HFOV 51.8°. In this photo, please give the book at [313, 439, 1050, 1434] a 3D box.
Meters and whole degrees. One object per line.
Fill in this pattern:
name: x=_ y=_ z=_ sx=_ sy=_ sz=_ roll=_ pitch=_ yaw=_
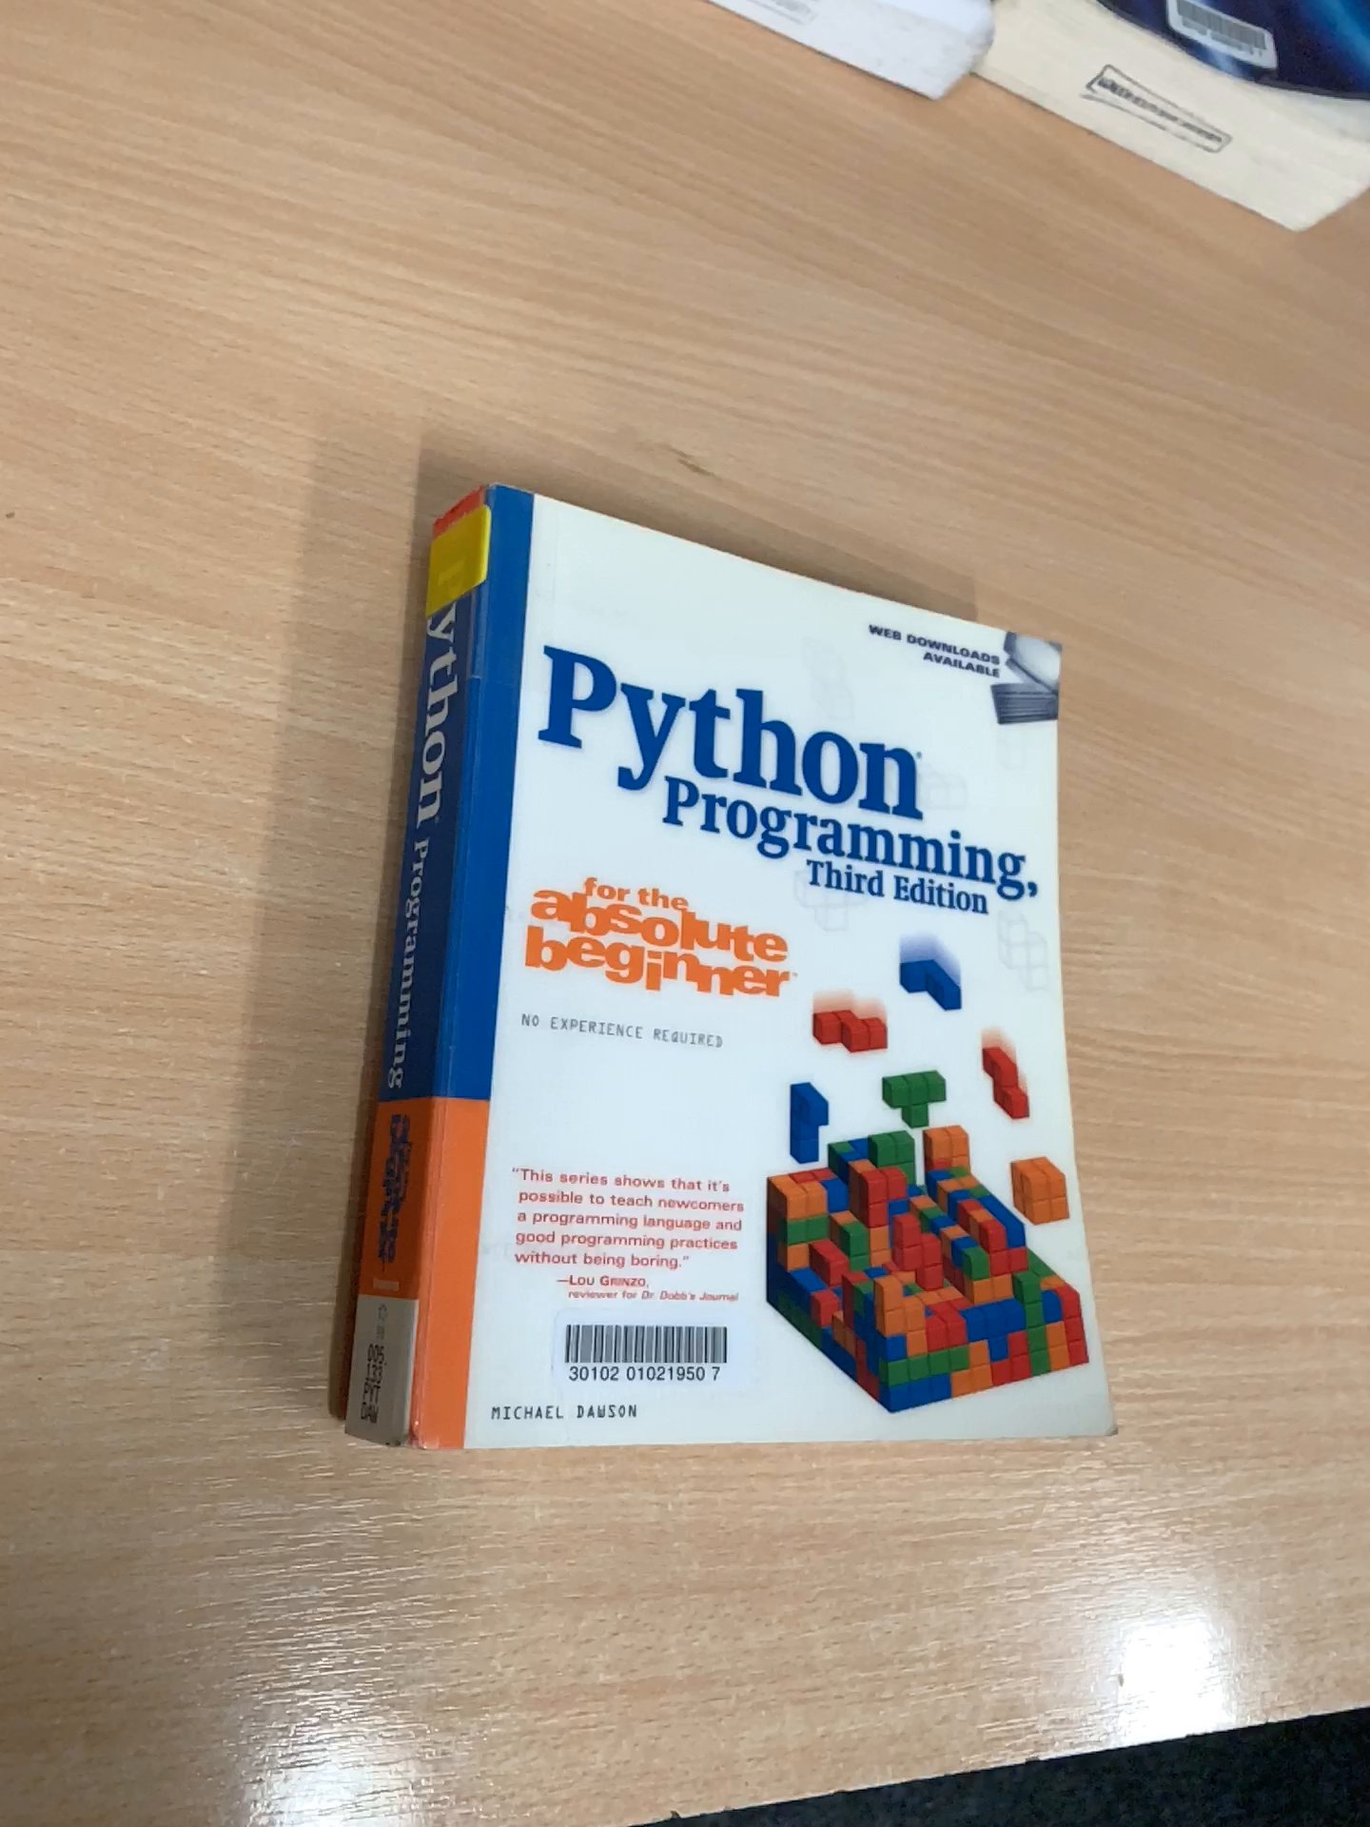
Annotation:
book: x=0.009 y=0.012 z=0.358 sx=0.175 sy=0.039 sz=0.219 roll=9 pitch=75 yaw=-26
